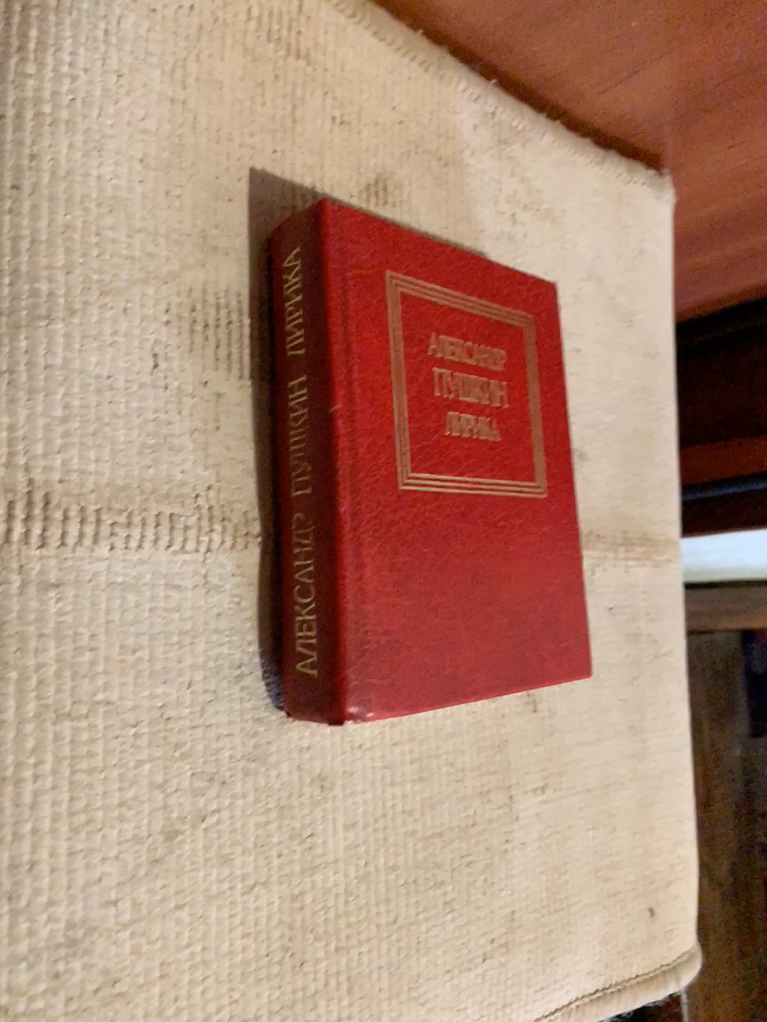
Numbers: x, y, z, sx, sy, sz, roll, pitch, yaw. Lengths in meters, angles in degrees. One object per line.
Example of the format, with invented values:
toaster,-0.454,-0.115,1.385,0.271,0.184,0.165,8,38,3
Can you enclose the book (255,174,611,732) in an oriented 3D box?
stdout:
book,0.020,-0.013,0.260,0.120,0.034,0.148,4,80,-42
